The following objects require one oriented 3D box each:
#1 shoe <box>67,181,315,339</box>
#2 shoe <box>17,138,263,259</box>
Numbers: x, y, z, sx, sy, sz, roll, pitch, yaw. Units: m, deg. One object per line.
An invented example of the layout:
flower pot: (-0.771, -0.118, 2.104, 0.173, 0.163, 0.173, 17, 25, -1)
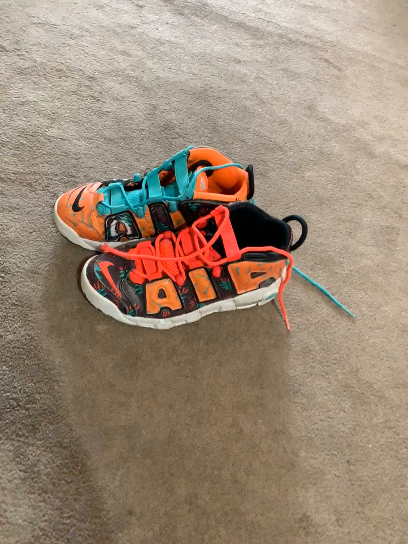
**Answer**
shoe: (-0.019, -0.013, 0.458, 0.230, 0.109, 0.101, -8, 58, -10)
shoe: (-0.070, -0.087, 0.494, 0.250, 0.089, 0.101, -3, 60, -7)
